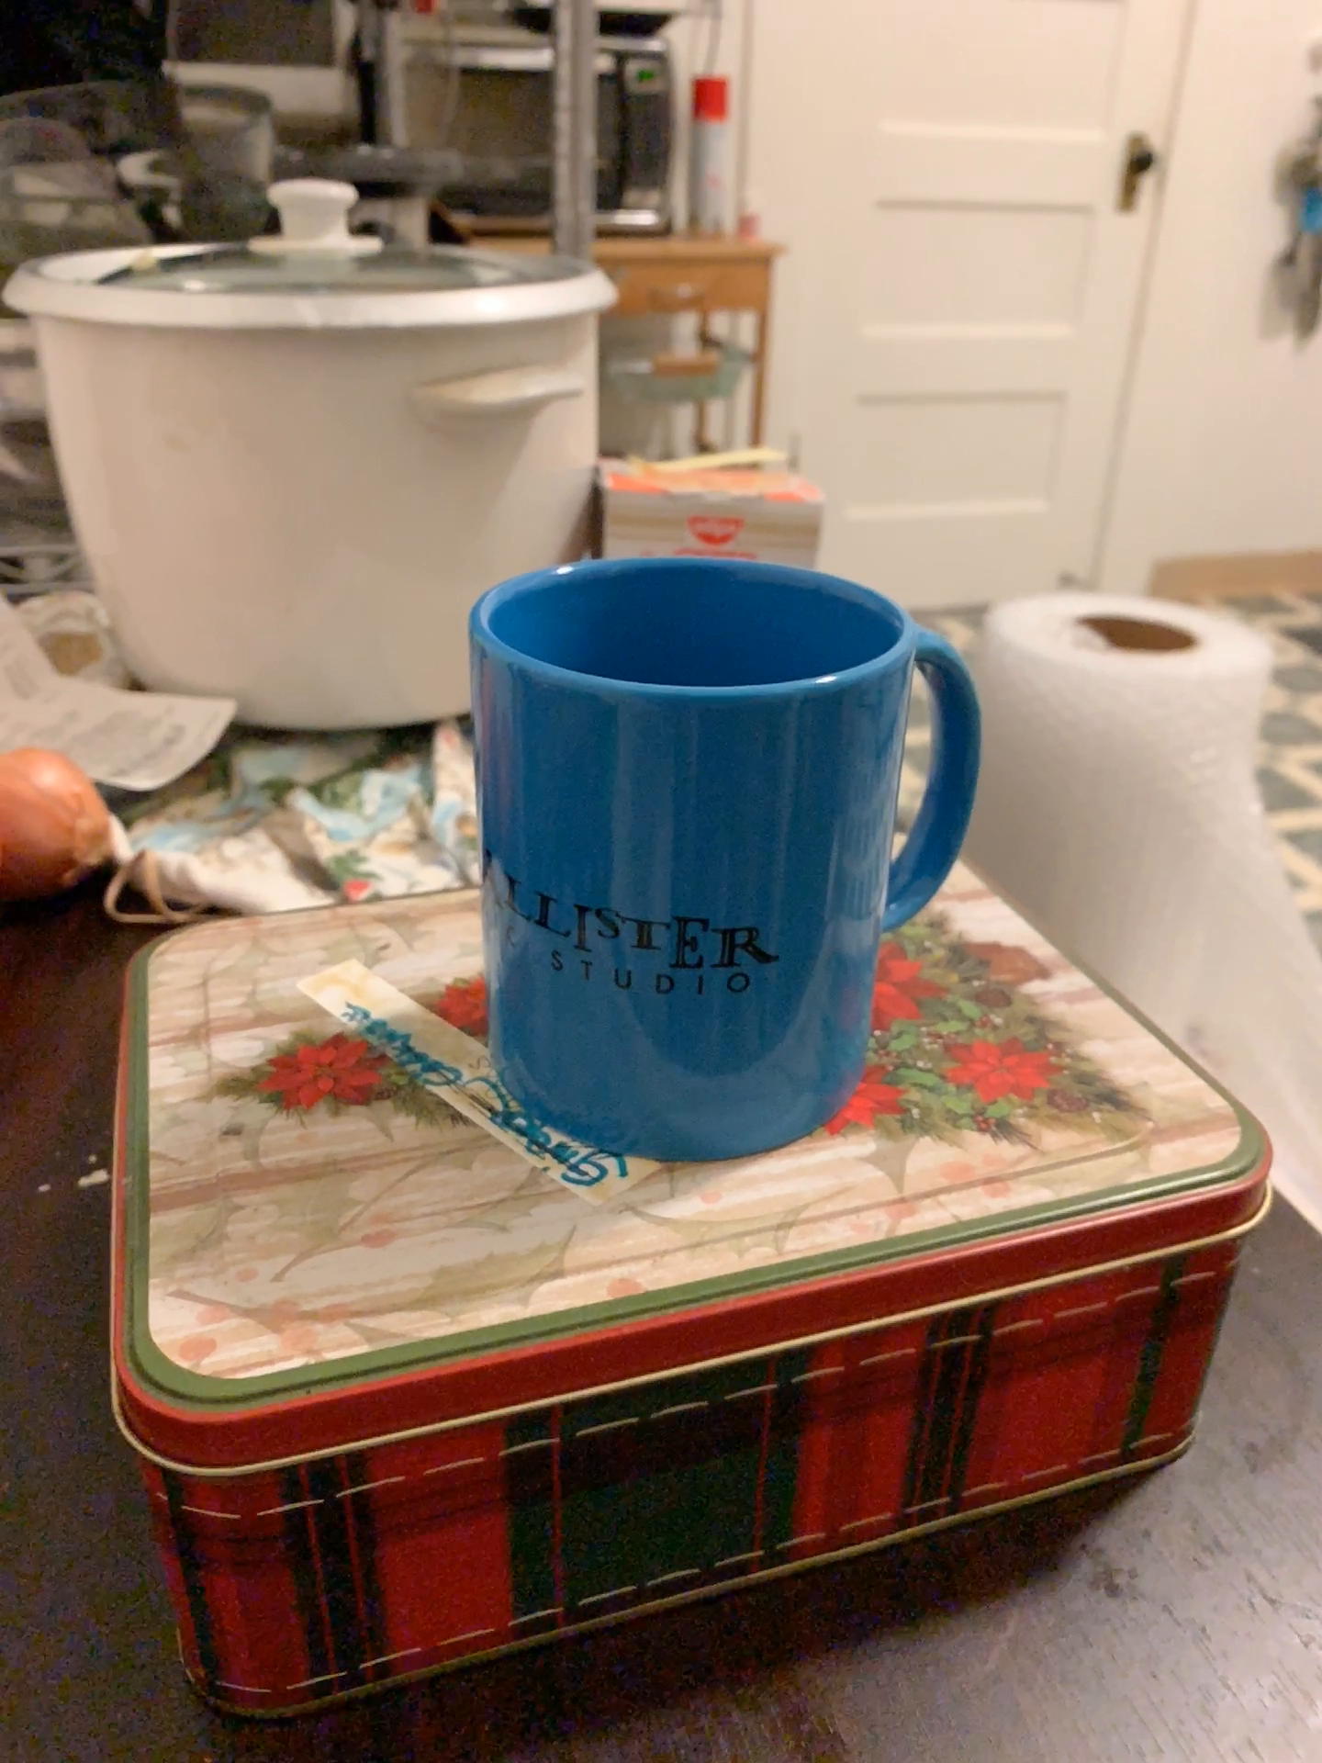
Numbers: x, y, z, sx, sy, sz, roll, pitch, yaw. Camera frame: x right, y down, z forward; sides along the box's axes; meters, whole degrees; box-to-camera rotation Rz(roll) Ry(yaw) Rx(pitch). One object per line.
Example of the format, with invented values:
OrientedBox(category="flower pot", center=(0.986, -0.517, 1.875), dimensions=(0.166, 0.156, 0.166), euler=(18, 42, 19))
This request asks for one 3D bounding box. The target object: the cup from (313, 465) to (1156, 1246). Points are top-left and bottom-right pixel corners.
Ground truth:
OrientedBox(category="cup", center=(0.015, -0.018, 0.279), dimensions=(0.130, 0.099, 0.090), euler=(-21, 35, -36))
